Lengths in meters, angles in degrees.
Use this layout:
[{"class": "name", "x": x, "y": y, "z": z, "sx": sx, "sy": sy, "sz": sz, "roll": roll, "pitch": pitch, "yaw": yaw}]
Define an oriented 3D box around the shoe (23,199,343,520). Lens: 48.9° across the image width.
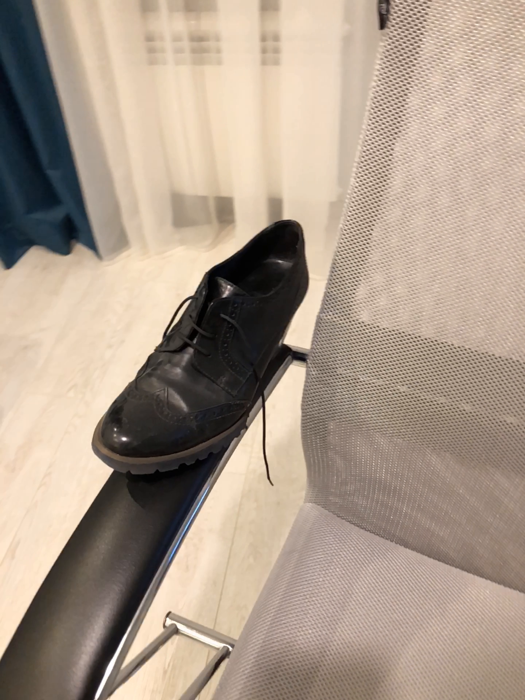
[{"class": "shoe", "x": -0.043, "y": -0.011, "z": 0.467, "sx": 0.100, "sy": 0.119, "sz": 0.251, "roll": 23, "pitch": 43, "yaw": 25}]
